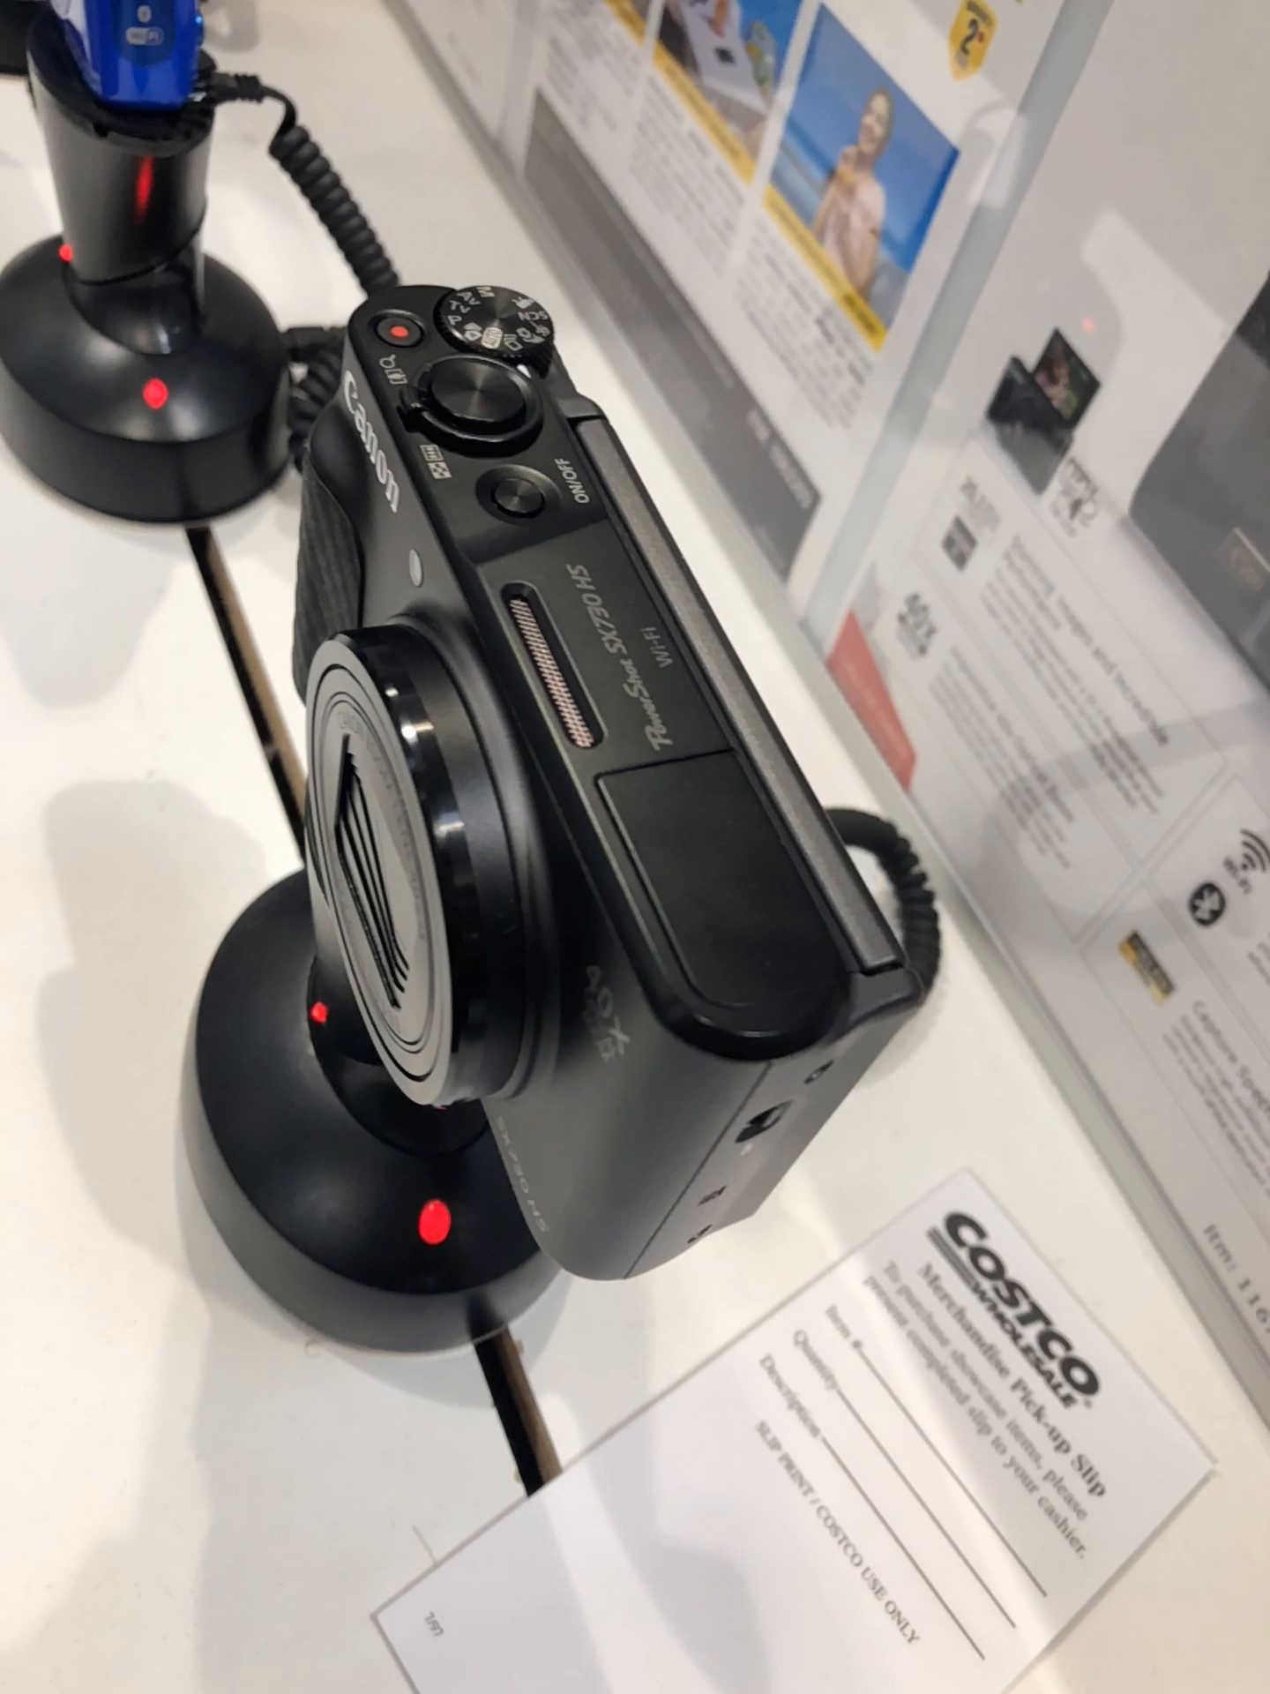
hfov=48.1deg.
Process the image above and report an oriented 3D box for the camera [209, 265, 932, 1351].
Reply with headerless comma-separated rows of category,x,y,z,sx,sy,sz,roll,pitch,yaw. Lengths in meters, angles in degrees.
camera,-0.018,-0.009,0.168,0.040,0.060,0.110,-11,57,-23
